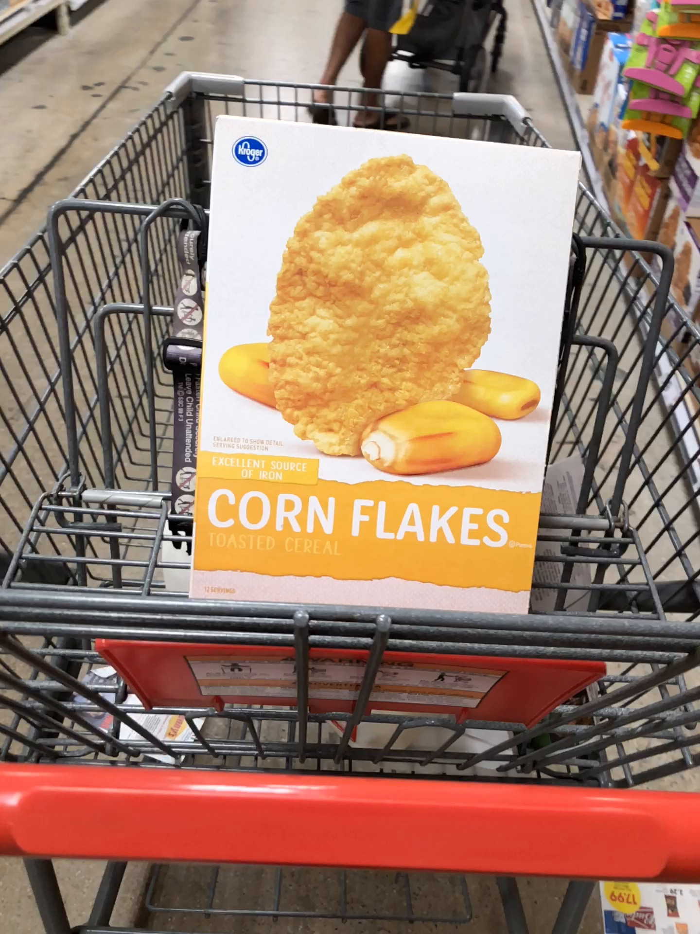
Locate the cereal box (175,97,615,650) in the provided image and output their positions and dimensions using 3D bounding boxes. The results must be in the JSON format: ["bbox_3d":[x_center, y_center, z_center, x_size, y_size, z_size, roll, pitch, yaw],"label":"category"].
[{"bbox_3d":[0.019,-0.050,0.481,0.230,0.300,0.080,4,9,-2],"label":"cereal box"}]
